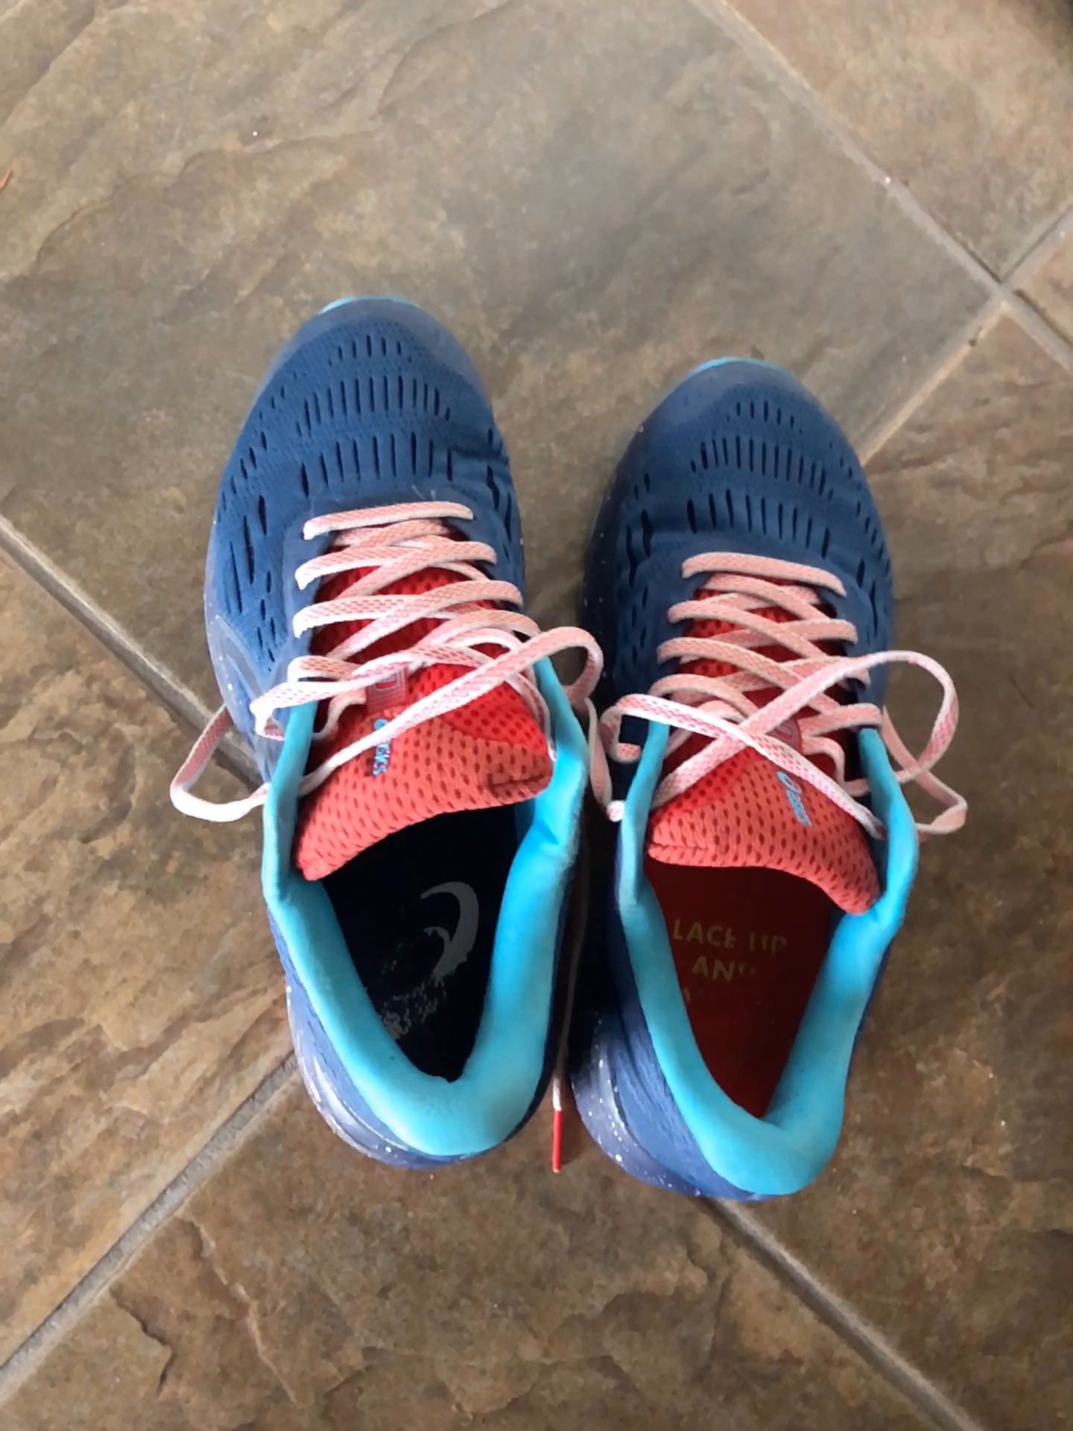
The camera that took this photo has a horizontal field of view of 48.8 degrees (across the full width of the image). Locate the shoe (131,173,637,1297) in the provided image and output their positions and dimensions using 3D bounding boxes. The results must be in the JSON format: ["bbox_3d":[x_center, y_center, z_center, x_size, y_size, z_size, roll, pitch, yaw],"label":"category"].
[{"bbox_3d":[-0.052,0.002,0.387,0.120,0.130,0.300,-3,84,-9],"label":"shoe"}]

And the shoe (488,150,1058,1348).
[{"bbox_3d":[0.065,0.010,0.370,0.120,0.130,0.300,6,83,-8],"label":"shoe"}]
